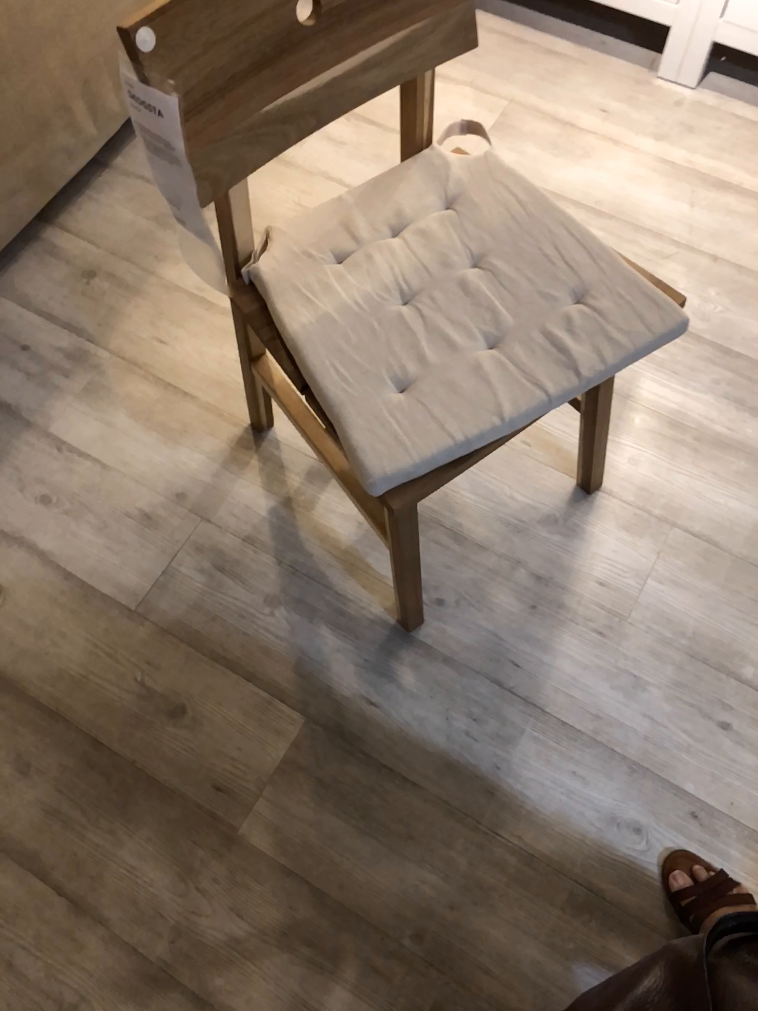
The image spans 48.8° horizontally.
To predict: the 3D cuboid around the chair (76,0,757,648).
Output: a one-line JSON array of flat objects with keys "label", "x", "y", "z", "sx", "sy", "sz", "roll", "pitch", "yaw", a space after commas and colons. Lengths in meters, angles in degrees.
[{"label": "chair", "x": 0.096, "y": -0.267, "z": 0.992, "sx": 0.500, "sy": 0.599, "sz": 0.530, "roll": -36, "pitch": 69, "yaw": -14}]
